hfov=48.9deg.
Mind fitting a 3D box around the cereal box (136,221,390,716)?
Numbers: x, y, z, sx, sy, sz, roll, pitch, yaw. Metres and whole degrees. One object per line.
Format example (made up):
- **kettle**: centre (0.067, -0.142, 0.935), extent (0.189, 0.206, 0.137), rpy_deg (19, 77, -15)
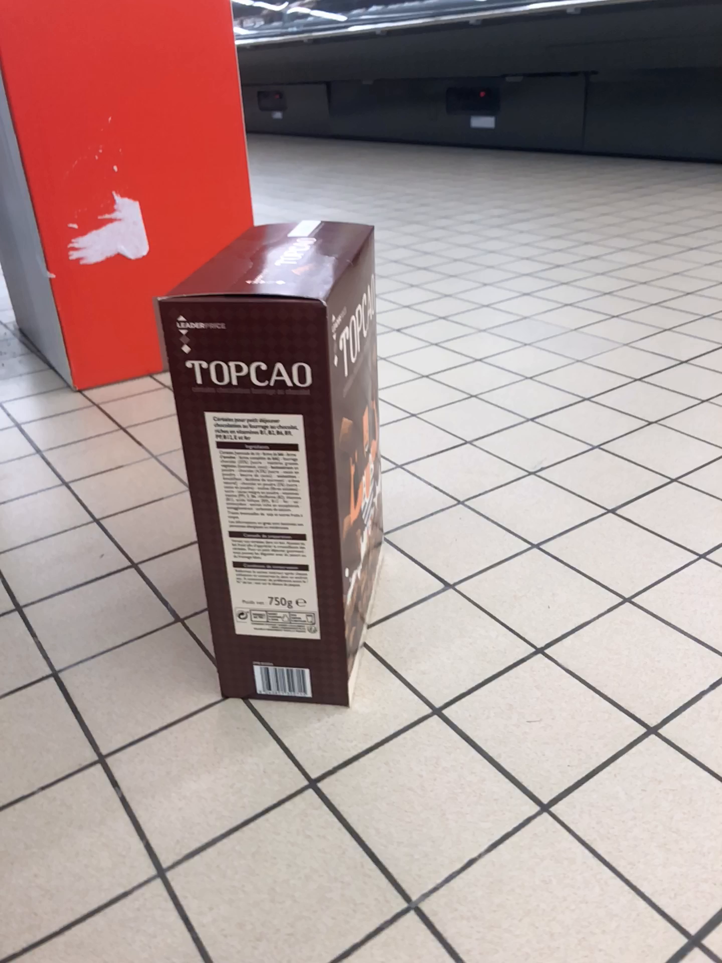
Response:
- **cereal box**: centre (-0.047, -0.016, 0.569), extent (0.100, 0.288, 0.201), rpy_deg (1, 29, 9)
